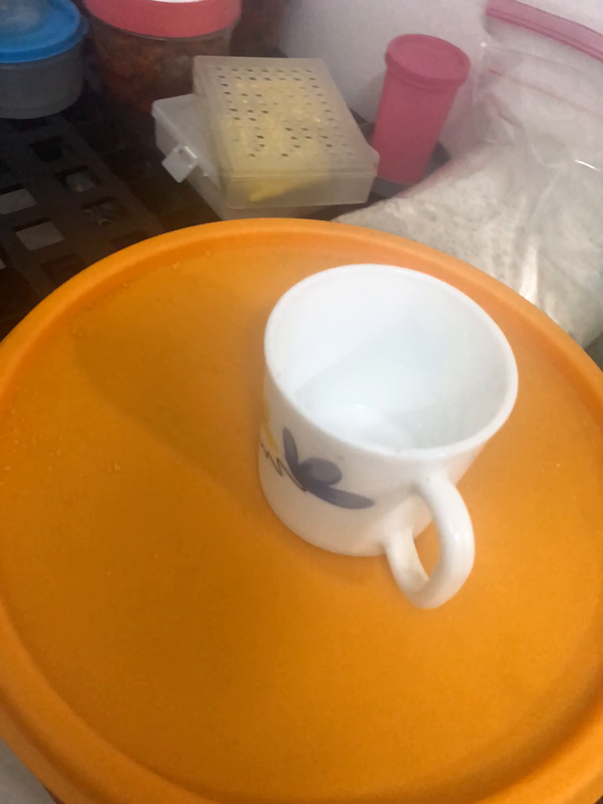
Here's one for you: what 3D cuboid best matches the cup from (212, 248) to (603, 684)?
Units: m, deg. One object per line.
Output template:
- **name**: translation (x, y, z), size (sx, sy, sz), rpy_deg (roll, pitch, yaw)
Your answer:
- **cup**: translation (0.025, 0.016, 0.211), size (0.080, 0.070, 0.100), rpy_deg (-11, 56, -18)
